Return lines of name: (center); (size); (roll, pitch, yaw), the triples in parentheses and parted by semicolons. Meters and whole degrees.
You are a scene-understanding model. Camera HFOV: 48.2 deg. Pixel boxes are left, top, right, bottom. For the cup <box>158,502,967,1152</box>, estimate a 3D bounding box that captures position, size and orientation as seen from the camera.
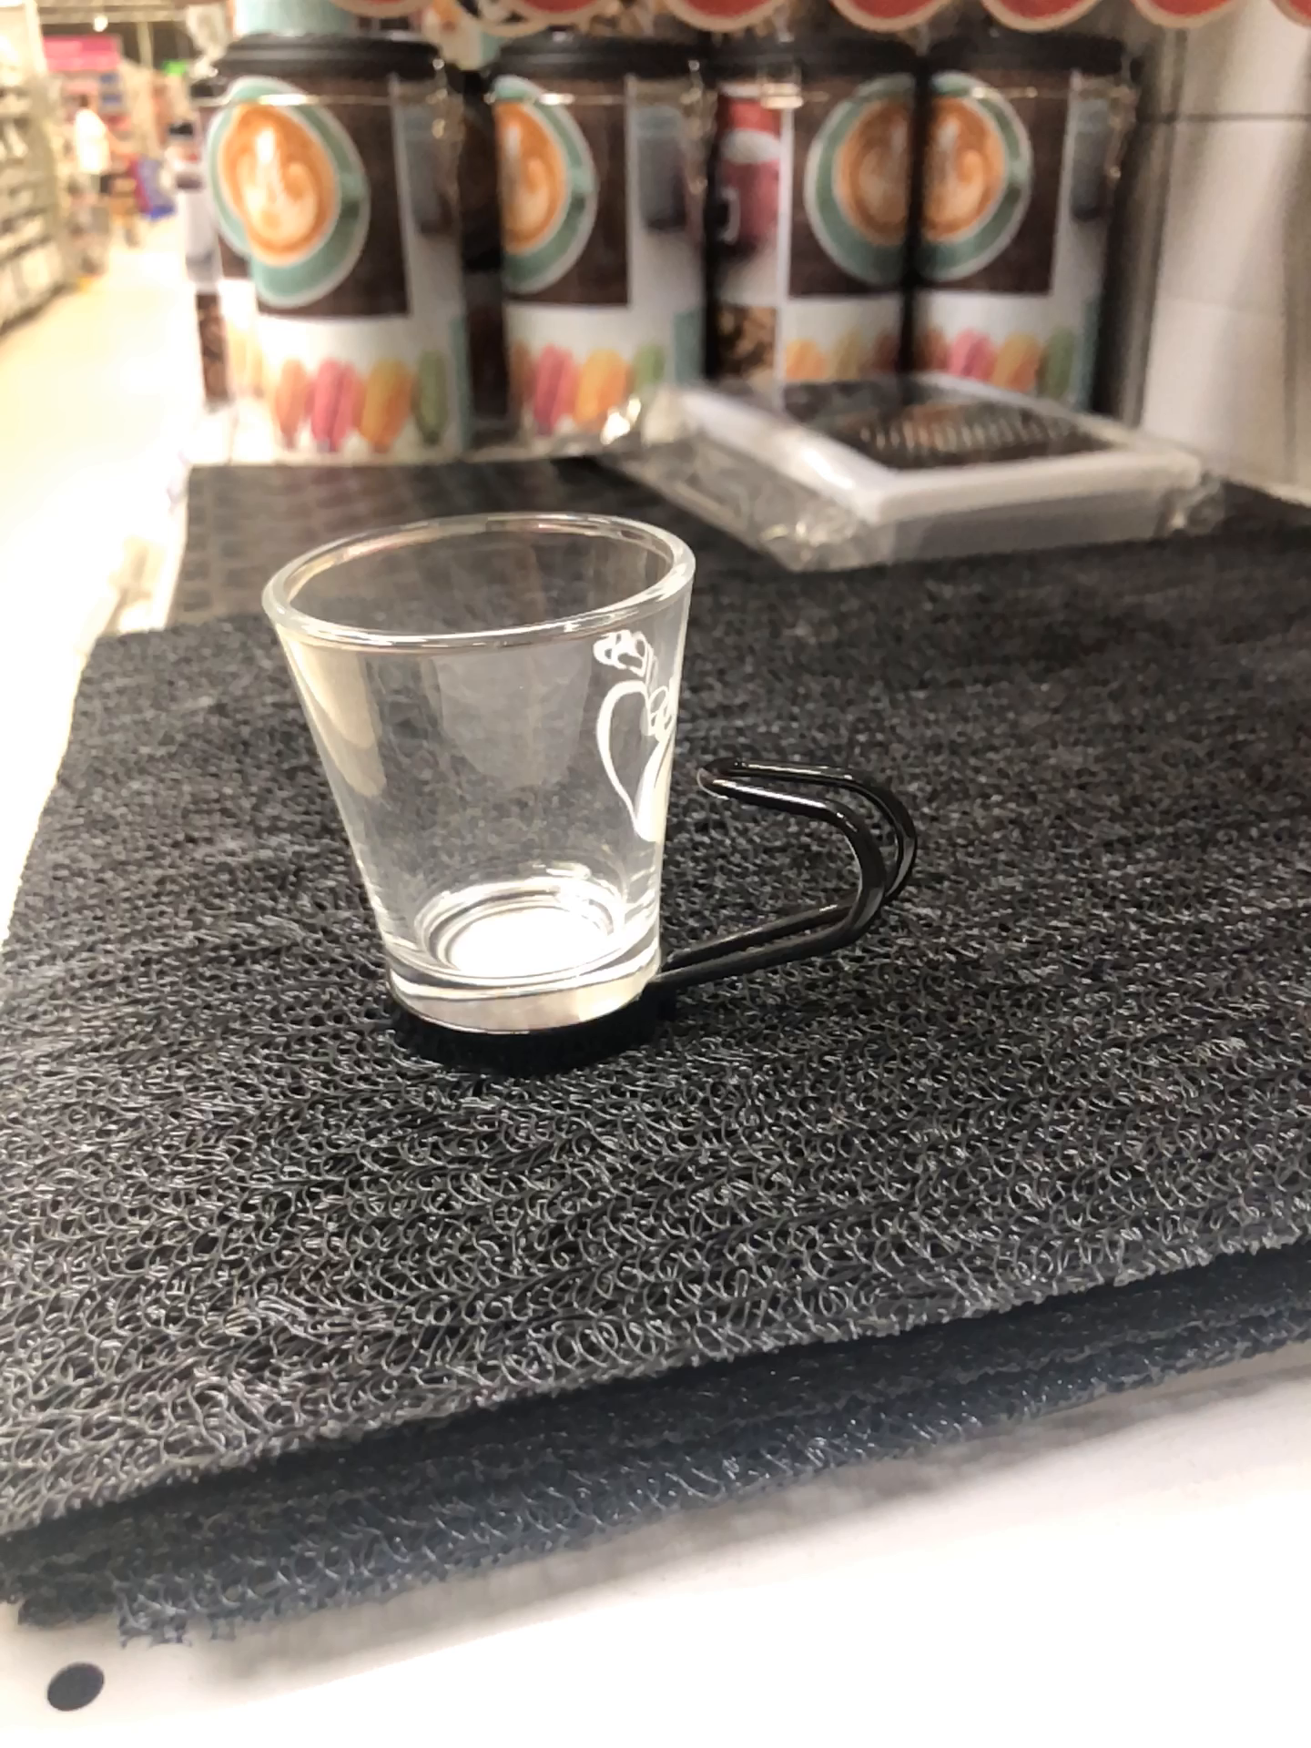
cup: (-0.009, -0.015, 0.215); (0.087, 0.059, 0.073); (12, 28, 25)
